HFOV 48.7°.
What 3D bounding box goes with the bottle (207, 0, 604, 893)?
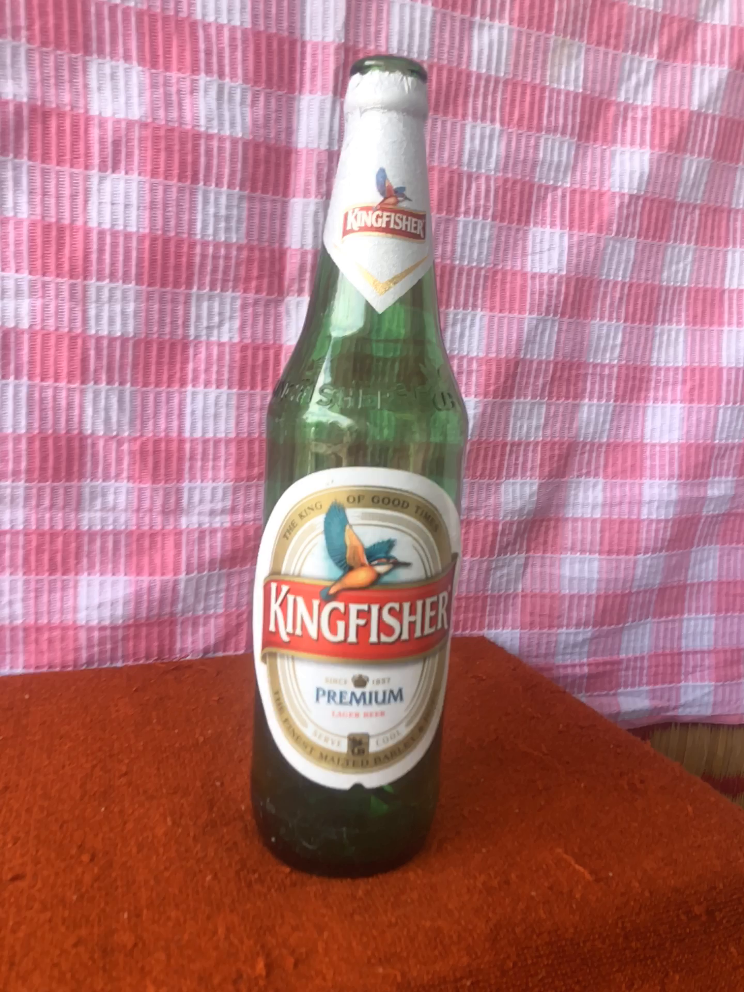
[{"bbox_3d":[0.002,-0.013,0.298,0.090,0.289,0.080,6,12,-6],"label":"bottle"}]
